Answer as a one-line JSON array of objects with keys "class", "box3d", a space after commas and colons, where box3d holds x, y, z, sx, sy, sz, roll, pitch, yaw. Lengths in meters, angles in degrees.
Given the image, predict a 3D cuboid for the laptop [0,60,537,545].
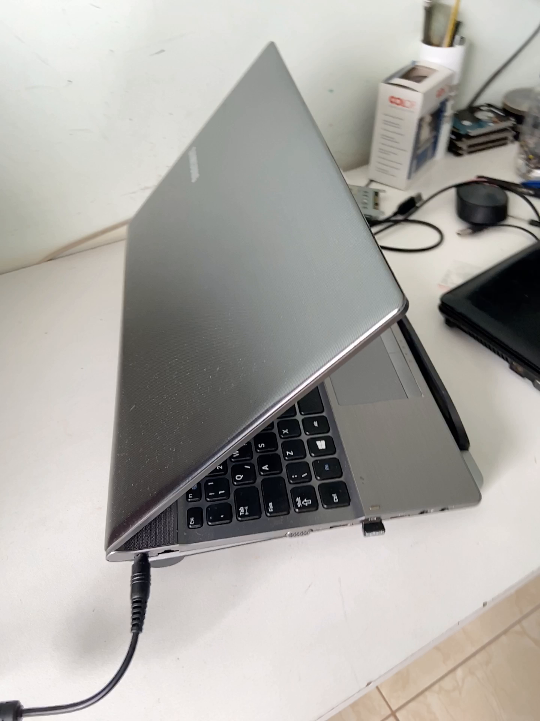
[{"class": "laptop", "box3d": [-0.018, -0.082, 0.421, 0.230, 0.164, 0.360, -6, 44, -7]}]
